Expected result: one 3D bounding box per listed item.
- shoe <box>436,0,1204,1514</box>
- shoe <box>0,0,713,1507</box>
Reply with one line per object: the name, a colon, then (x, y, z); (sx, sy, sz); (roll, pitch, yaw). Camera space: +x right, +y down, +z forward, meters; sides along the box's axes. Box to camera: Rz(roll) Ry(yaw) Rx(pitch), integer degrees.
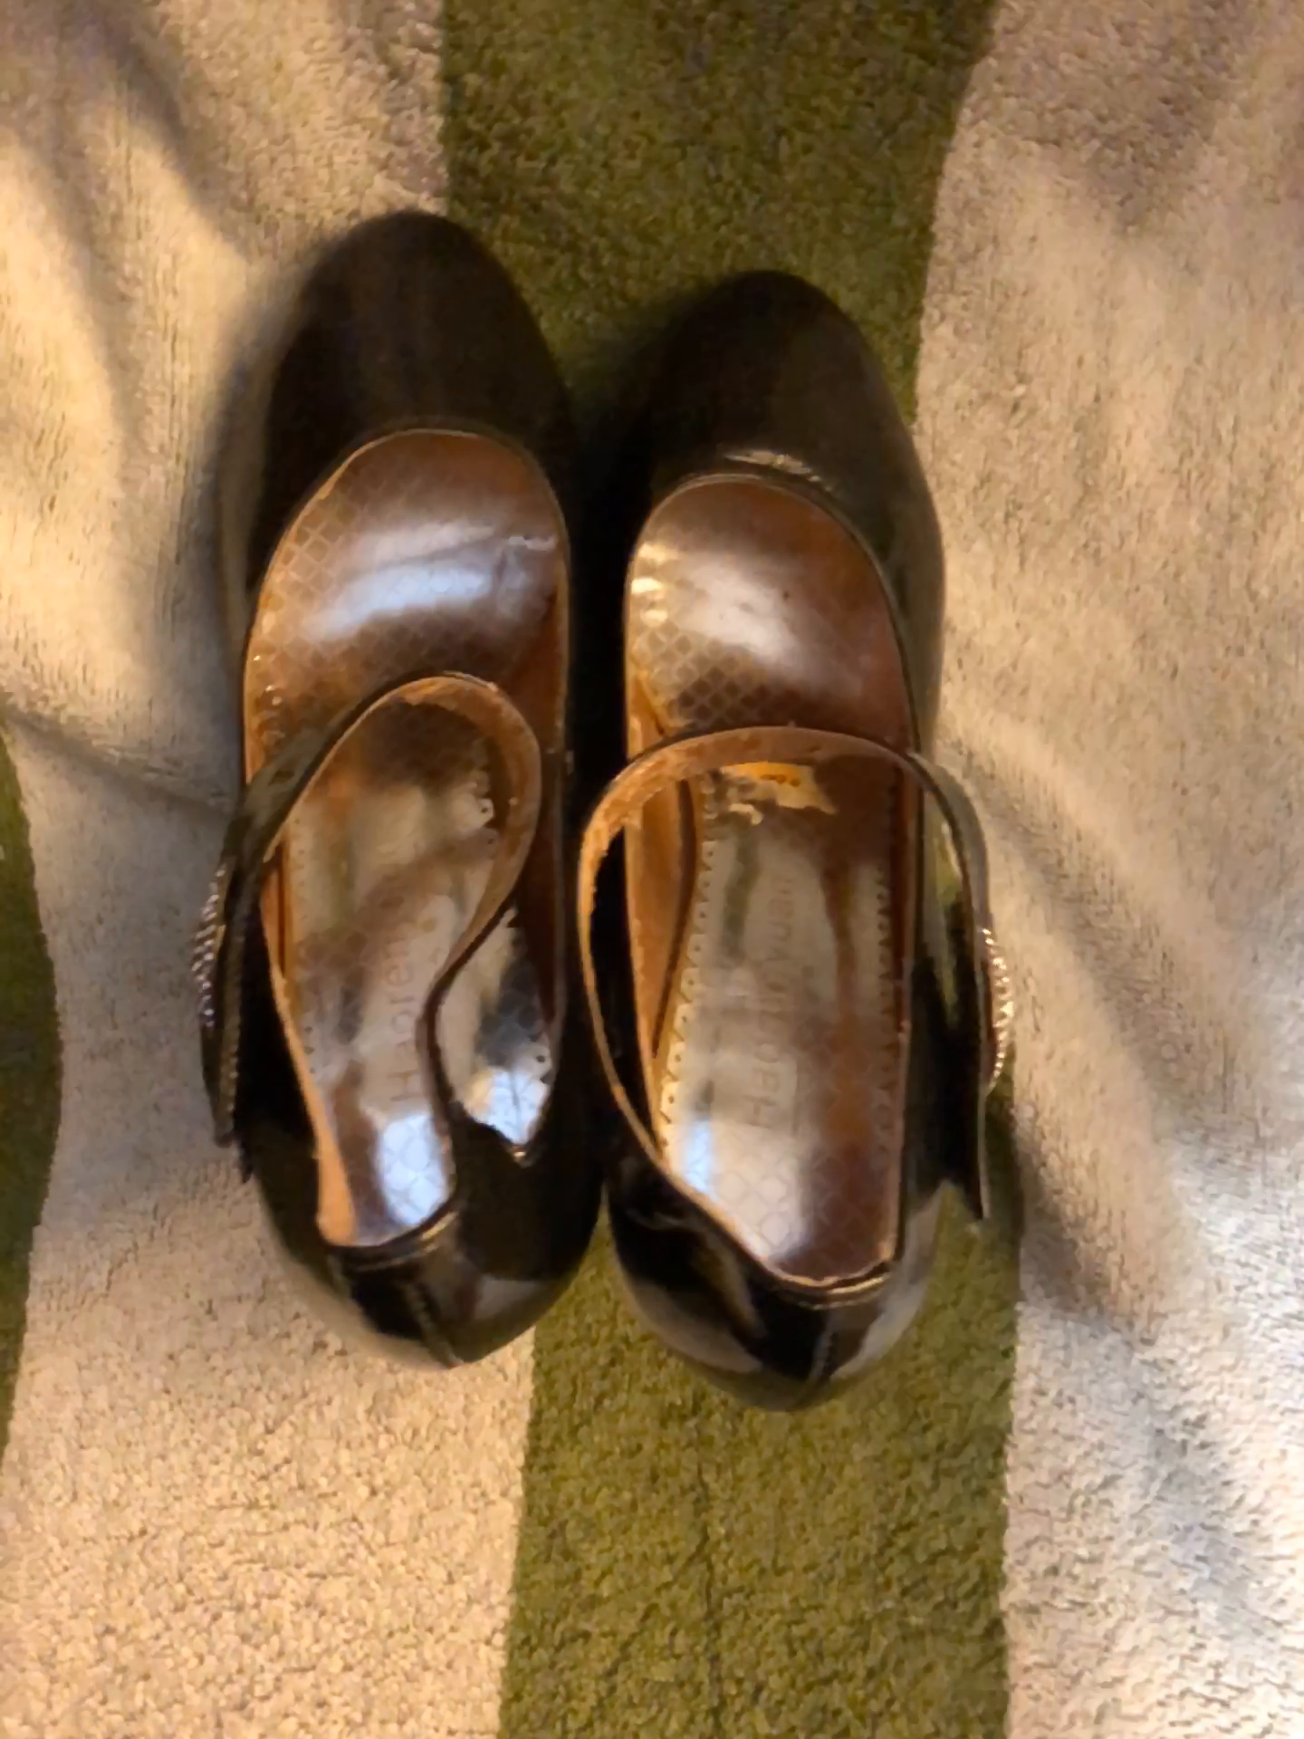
shoe: (0.022, -0.030, 0.267); (0.090, 0.120, 0.240); (6, 86, -5)
shoe: (-0.049, -0.033, 0.265); (0.090, 0.120, 0.240); (-3, 87, -5)
